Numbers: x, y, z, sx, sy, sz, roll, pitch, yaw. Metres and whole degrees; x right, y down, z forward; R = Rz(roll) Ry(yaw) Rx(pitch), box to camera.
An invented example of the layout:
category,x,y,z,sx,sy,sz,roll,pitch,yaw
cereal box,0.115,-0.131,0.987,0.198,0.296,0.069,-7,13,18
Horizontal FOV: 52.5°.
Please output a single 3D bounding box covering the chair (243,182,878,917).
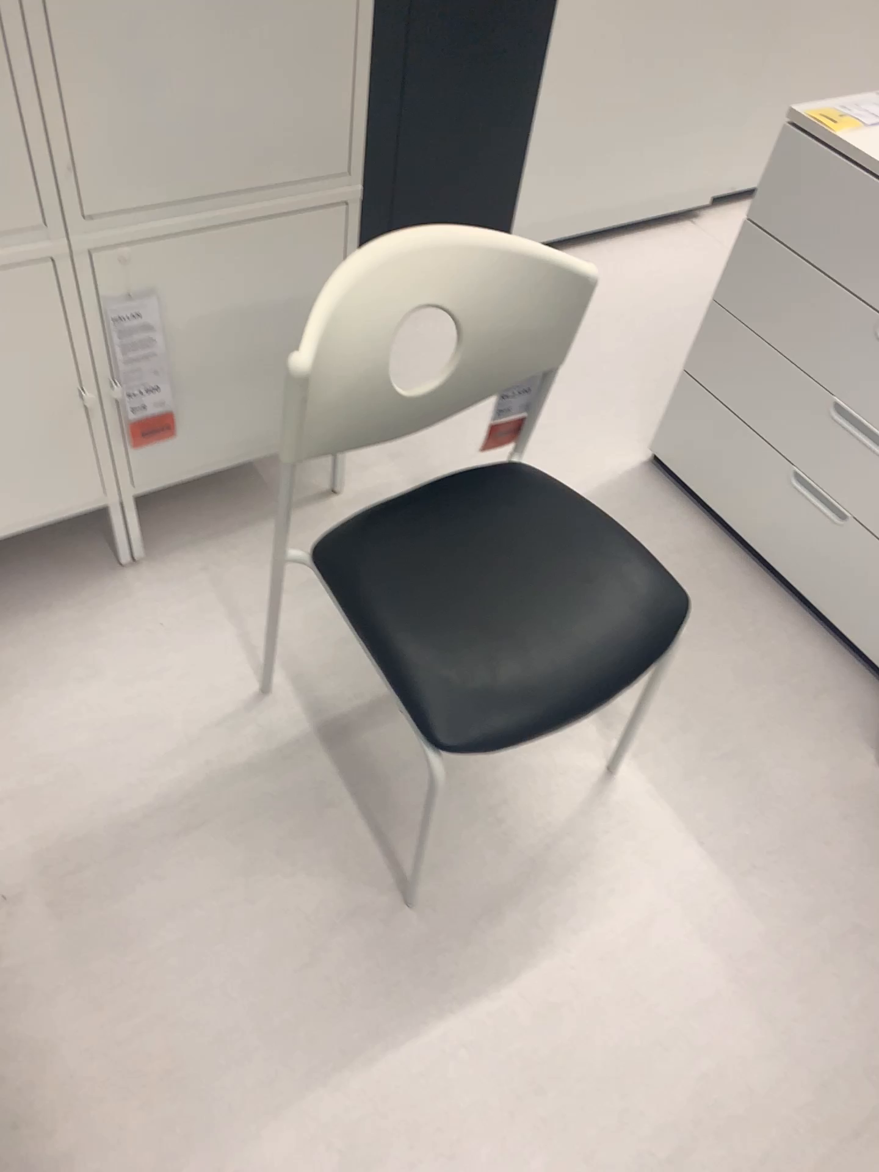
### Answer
category,x,y,z,sx,sy,sz,roll,pitch,yaw
chair,0.081,-0.025,1.239,0.481,0.767,0.511,-27,59,-28
